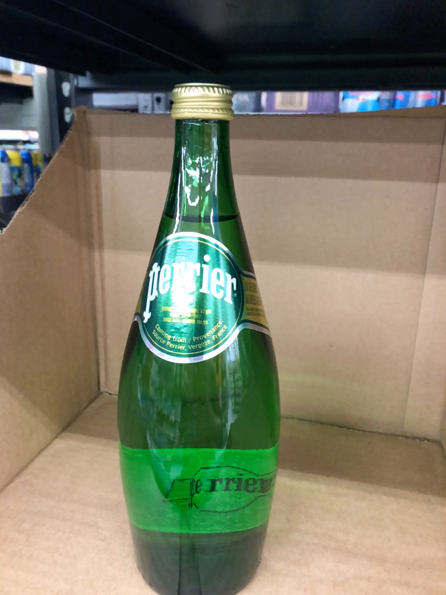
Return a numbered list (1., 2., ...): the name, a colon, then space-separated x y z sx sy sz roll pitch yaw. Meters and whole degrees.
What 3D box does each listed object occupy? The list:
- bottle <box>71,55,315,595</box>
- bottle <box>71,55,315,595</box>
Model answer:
1. bottle: -0.009 0.026 0.263 0.090 0.269 0.080 5 17 14
2. bottle: -0.009 0.026 0.263 0.090 0.269 0.080 5 17 14
